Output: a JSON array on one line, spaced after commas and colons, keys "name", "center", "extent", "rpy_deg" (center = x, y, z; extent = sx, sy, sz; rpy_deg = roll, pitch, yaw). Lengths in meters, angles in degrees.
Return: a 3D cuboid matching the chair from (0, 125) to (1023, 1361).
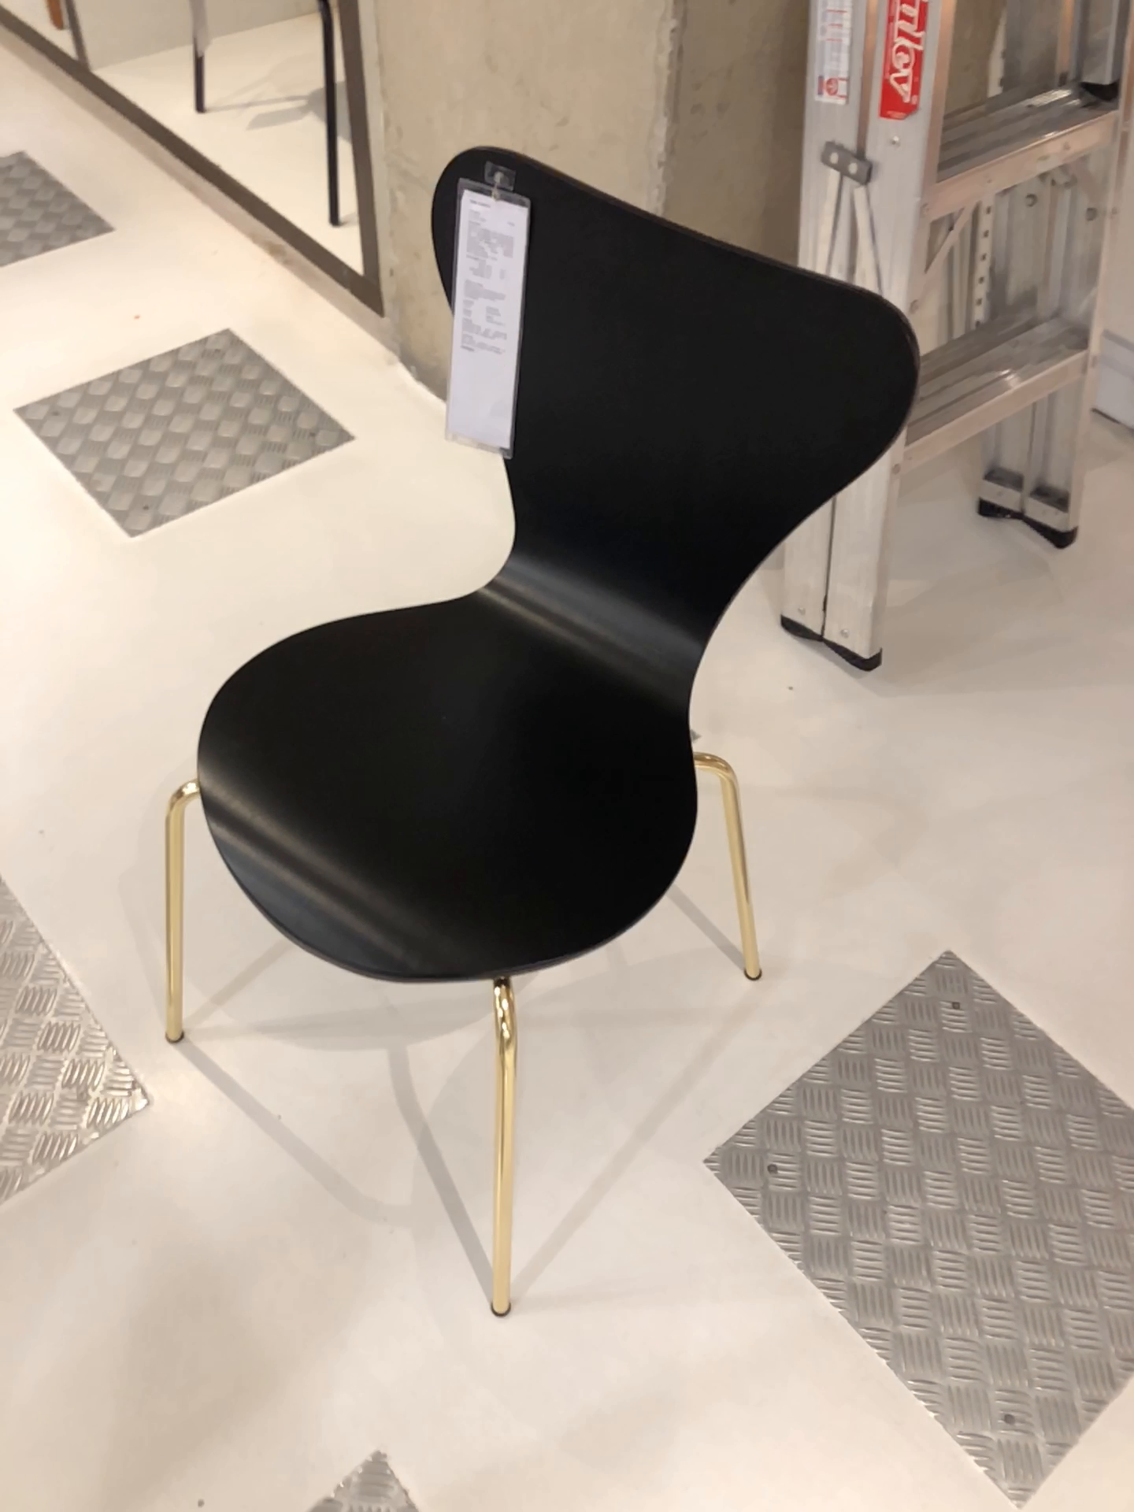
[{"name": "chair", "center": [-0.079, 0.019, 1.079], "extent": [0.511, 0.775, 0.543], "rpy_deg": [32, 56, 22]}]
